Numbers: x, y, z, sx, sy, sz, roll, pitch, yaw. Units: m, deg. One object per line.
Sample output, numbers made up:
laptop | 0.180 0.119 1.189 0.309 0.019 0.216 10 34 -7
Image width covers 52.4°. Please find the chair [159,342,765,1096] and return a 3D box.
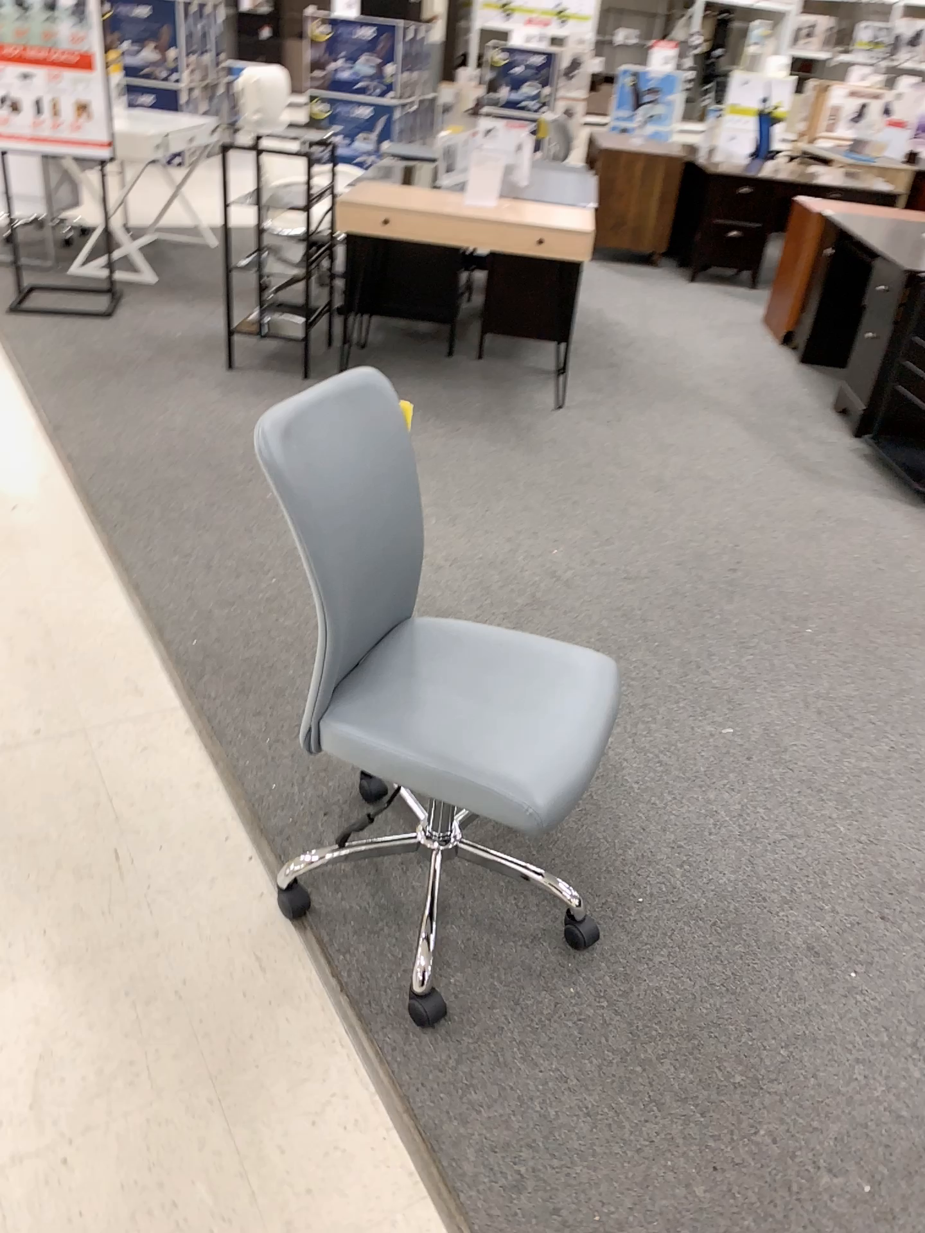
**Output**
chair | 0.000 0.121 1.534 0.651 0.875 0.602 19 34 19
